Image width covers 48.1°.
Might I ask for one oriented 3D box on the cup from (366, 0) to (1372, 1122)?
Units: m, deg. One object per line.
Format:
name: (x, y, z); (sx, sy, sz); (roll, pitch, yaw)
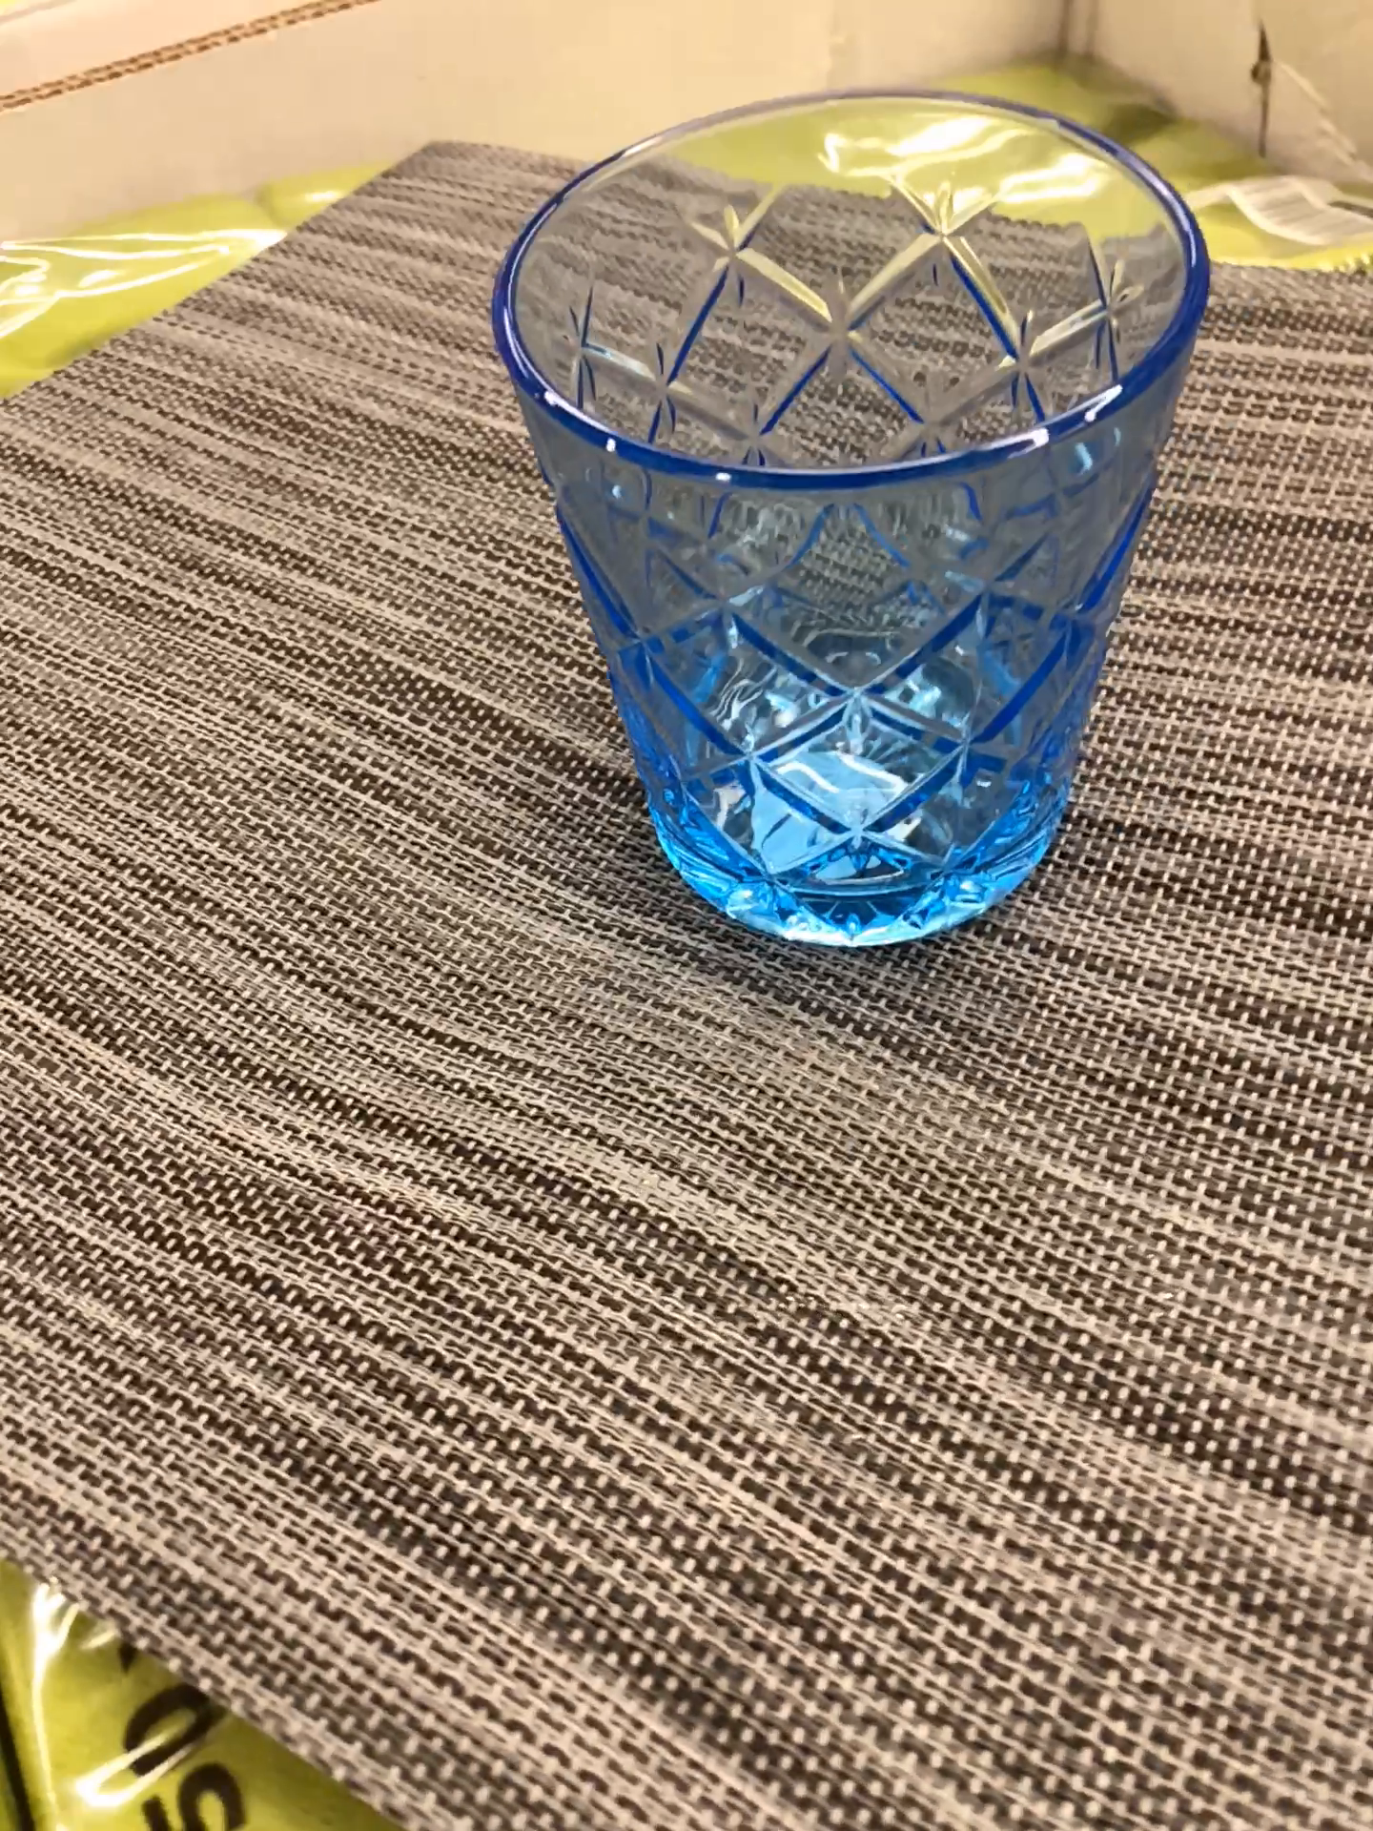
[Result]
cup: (0.028, -0.048, 0.201); (0.090, 0.090, 0.080); (-35, 55, -21)
